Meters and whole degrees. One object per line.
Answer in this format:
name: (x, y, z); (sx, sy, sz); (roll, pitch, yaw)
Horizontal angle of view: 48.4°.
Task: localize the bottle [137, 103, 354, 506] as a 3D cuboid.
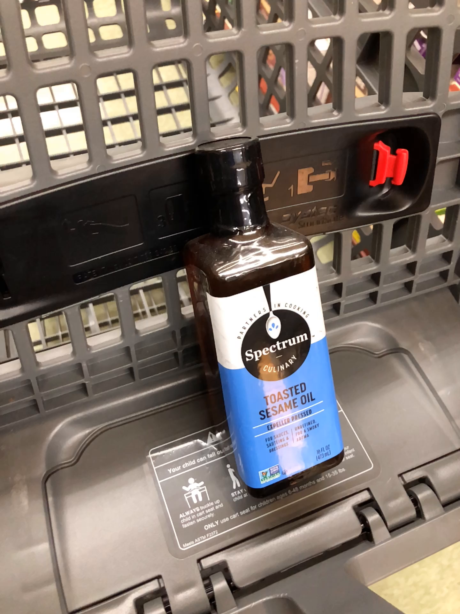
bottle: (0.014, 0.002, 0.279); (0.070, 0.200, 0.060); (-18, 27, -15)
